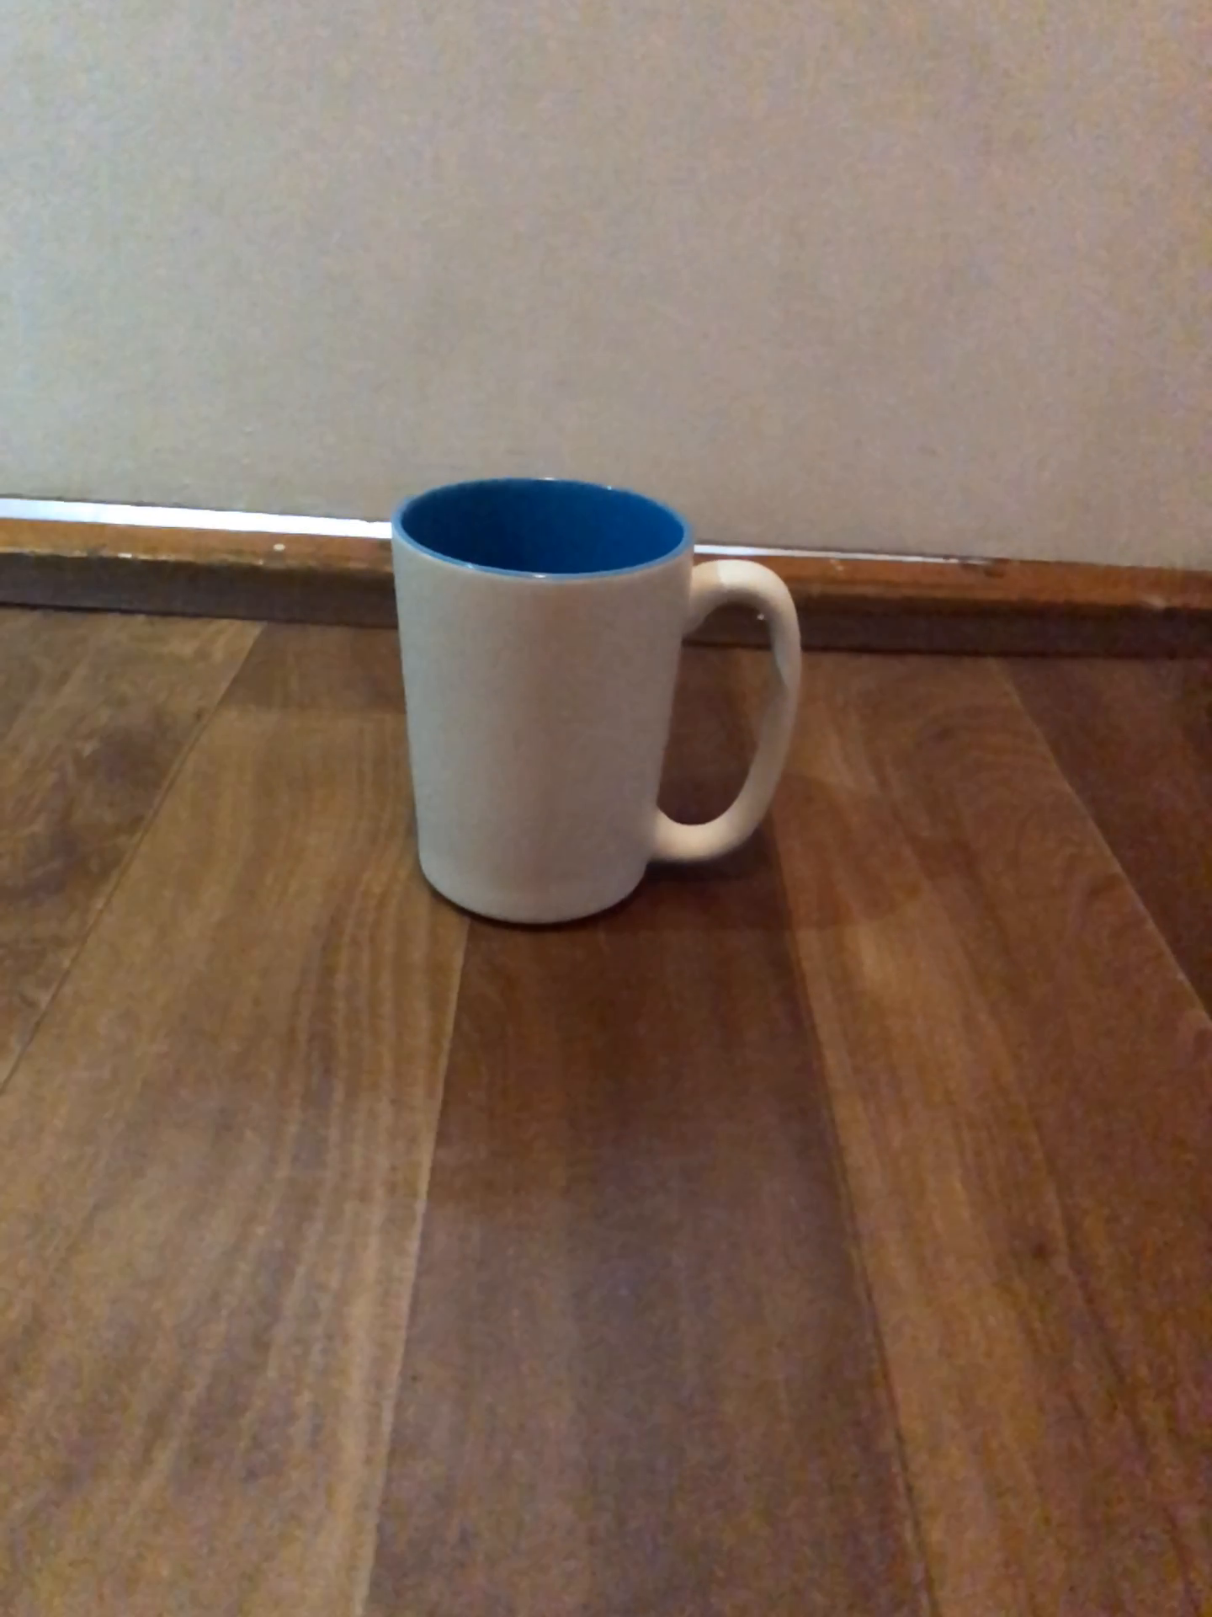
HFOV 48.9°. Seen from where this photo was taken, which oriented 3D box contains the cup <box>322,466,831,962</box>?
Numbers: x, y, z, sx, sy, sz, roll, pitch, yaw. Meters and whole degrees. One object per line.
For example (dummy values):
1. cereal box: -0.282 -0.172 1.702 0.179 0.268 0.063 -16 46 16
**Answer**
1. cup: -0.008 -0.031 0.404 0.129 0.112 0.089 4 30 1
